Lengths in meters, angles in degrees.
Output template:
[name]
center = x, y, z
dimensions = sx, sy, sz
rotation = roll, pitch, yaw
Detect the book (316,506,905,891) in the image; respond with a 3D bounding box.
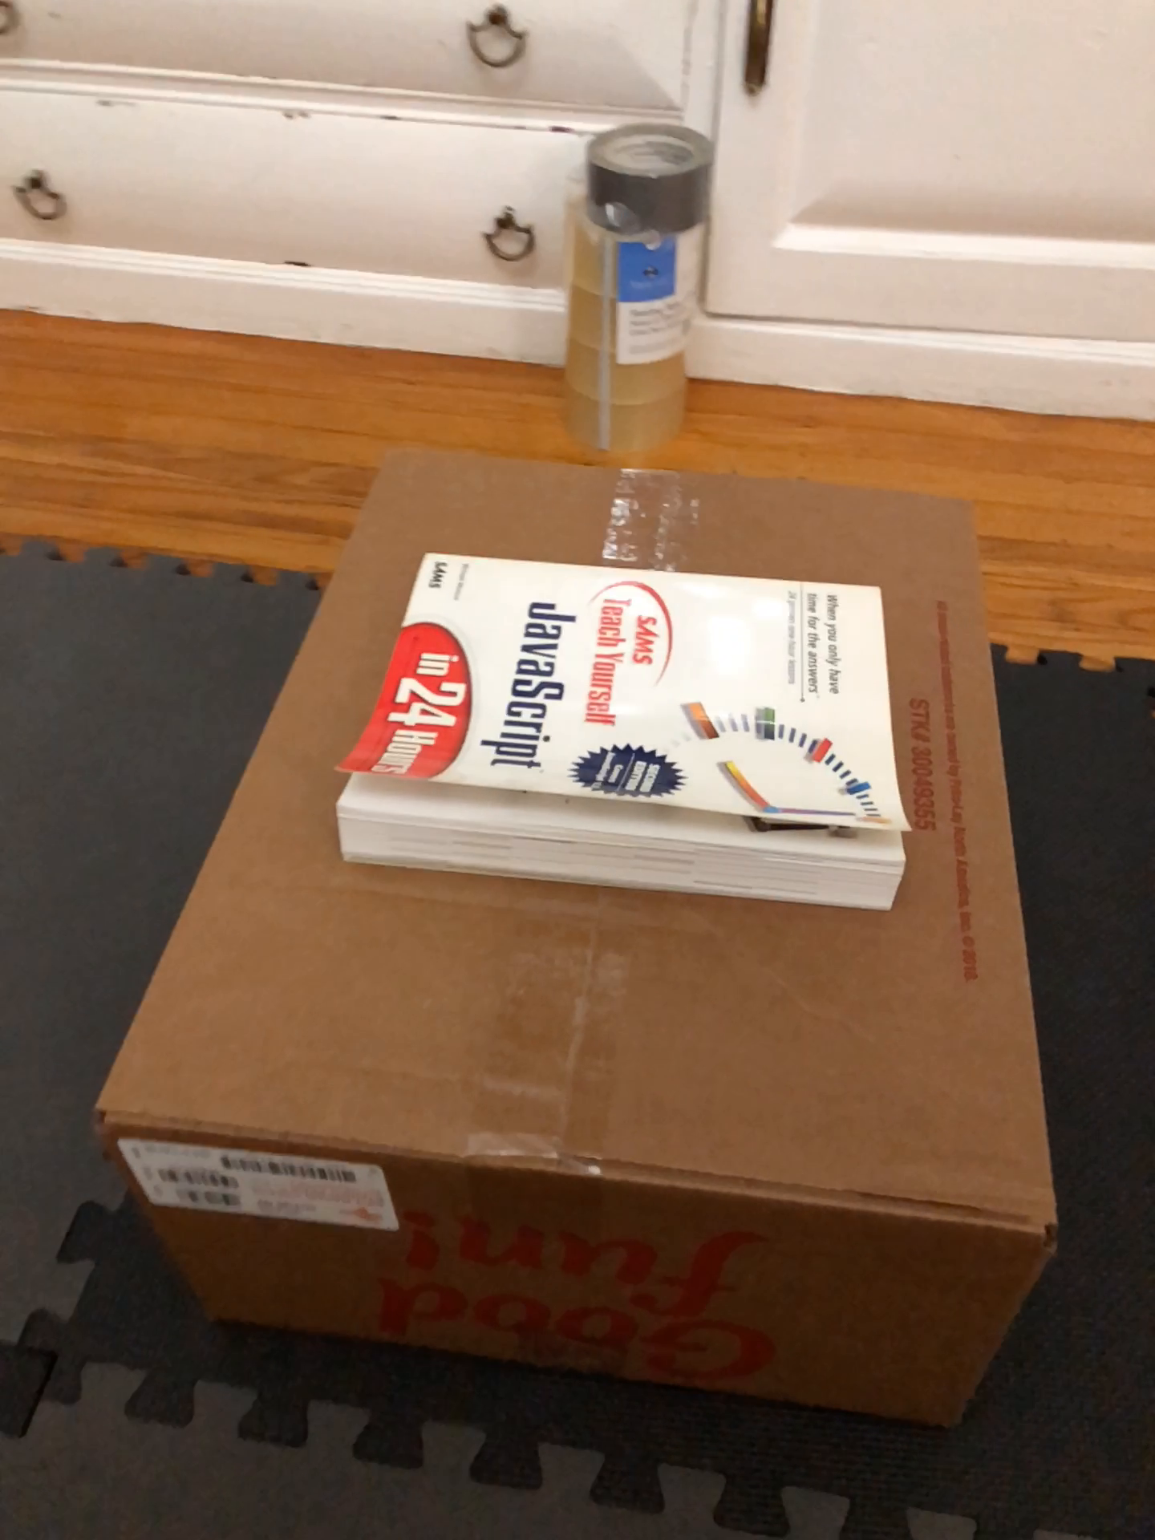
[book]
center = 0.022, -0.043, 0.591
dimensions = 0.240, 0.030, 0.201
rotation = 5, 47, 3
